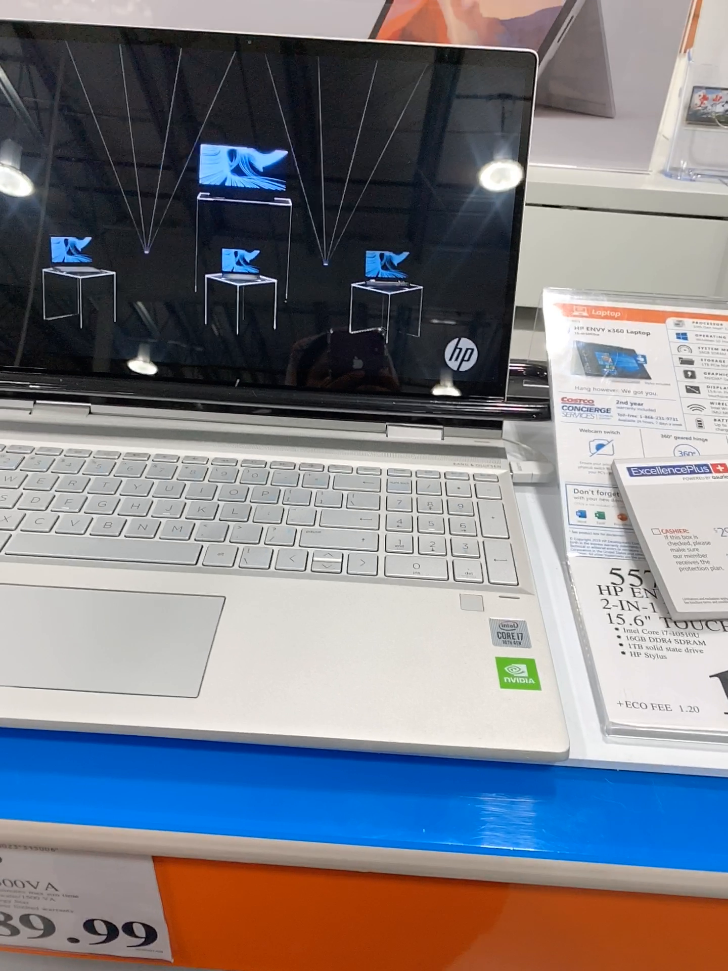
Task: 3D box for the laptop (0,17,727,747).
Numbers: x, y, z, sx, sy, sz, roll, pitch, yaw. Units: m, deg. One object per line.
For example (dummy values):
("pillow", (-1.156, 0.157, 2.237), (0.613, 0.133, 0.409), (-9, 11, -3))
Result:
("laptop", (-0.082, -0.089, 0.374), (0.346, 0.210, 0.341), (3, 35, 0))
